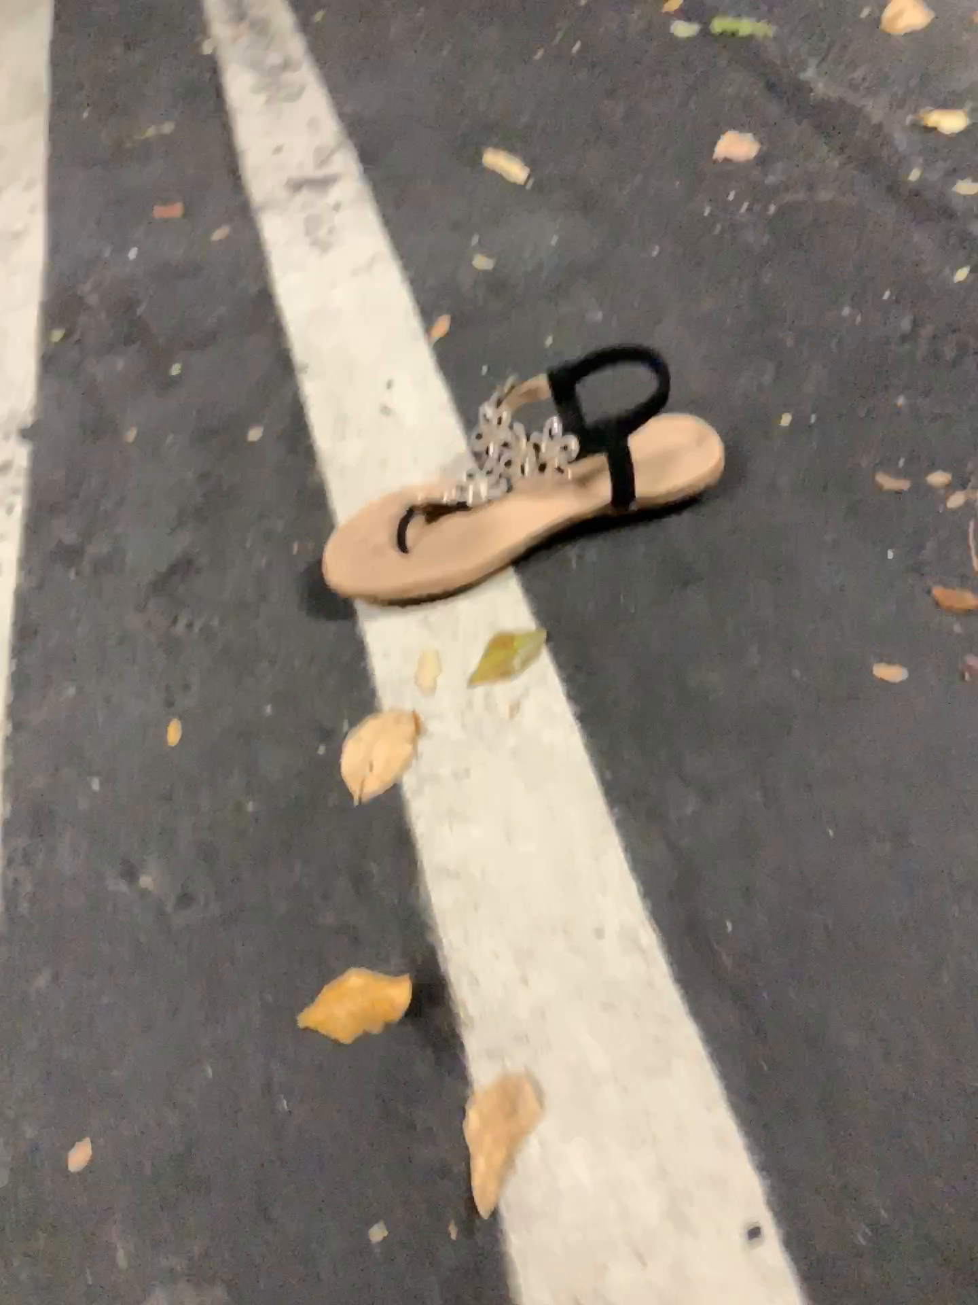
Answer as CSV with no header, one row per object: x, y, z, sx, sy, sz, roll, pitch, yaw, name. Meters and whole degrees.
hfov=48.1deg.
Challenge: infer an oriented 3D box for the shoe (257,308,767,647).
0.012,-0.107,0.637,0.260,0.060,0.120,-20,51,-10,shoe
